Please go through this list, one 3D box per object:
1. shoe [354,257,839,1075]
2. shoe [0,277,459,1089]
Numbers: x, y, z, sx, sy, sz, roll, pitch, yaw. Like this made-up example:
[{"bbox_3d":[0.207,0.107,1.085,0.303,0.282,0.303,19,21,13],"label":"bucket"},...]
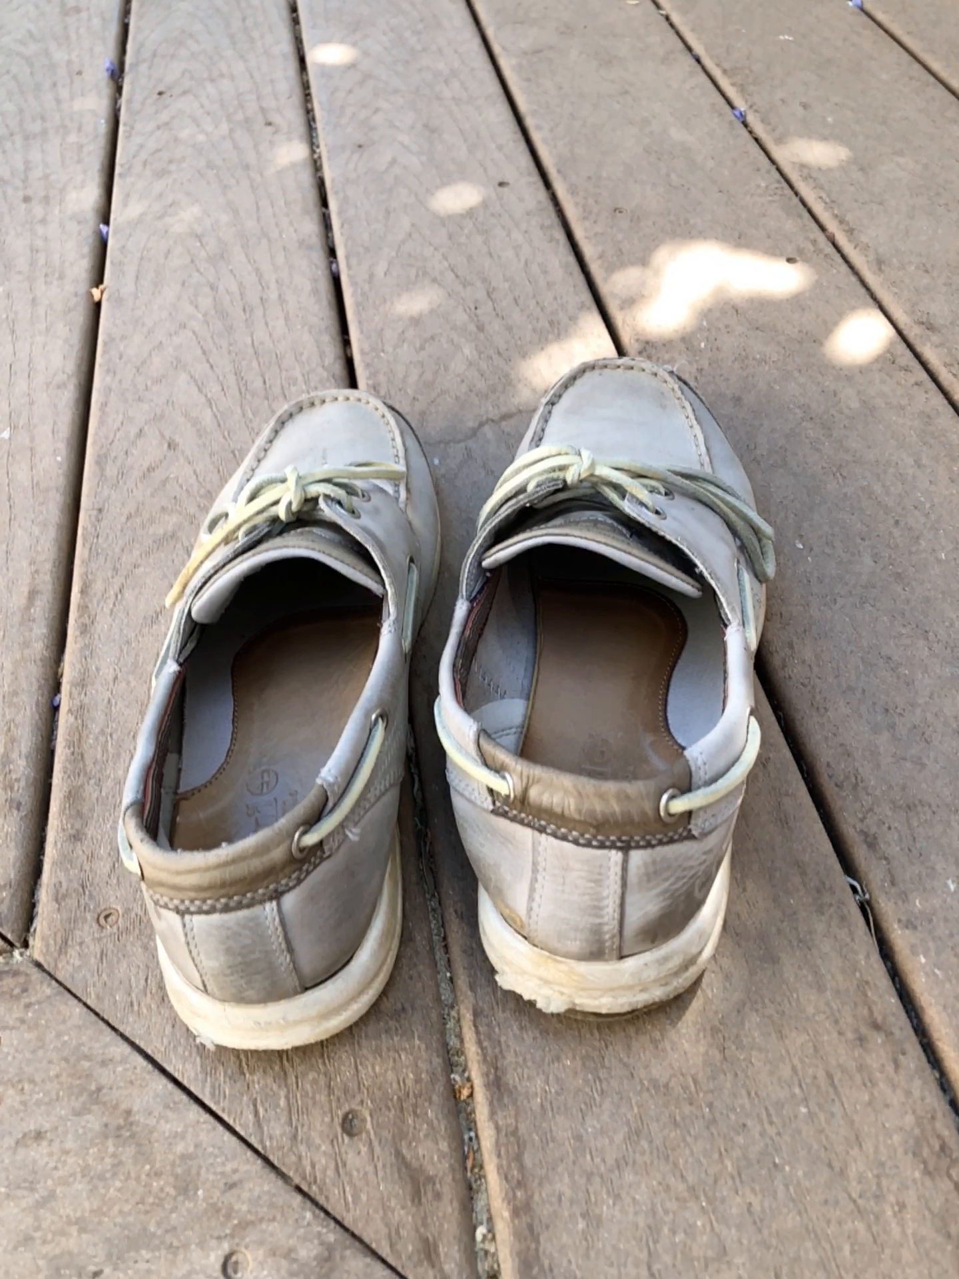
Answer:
[{"bbox_3d":[0.052,-0.018,0.403,0.121,0.097,0.313,3,50,8],"label":"shoe"},{"bbox_3d":[-0.075,-0.007,0.407,0.119,0.095,0.311,-4,49,2],"label":"shoe"}]
